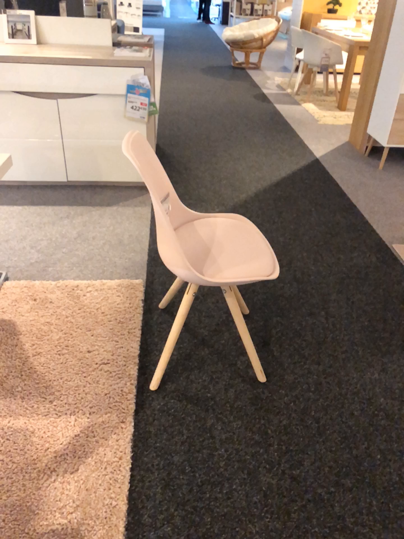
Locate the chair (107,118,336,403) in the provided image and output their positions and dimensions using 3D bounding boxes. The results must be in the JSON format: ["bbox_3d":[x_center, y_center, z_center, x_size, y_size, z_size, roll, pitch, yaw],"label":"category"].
[{"bbox_3d":[0.012,-0.045,1.518,0.560,0.765,0.573,-1,33,-6],"label":"chair"}]
